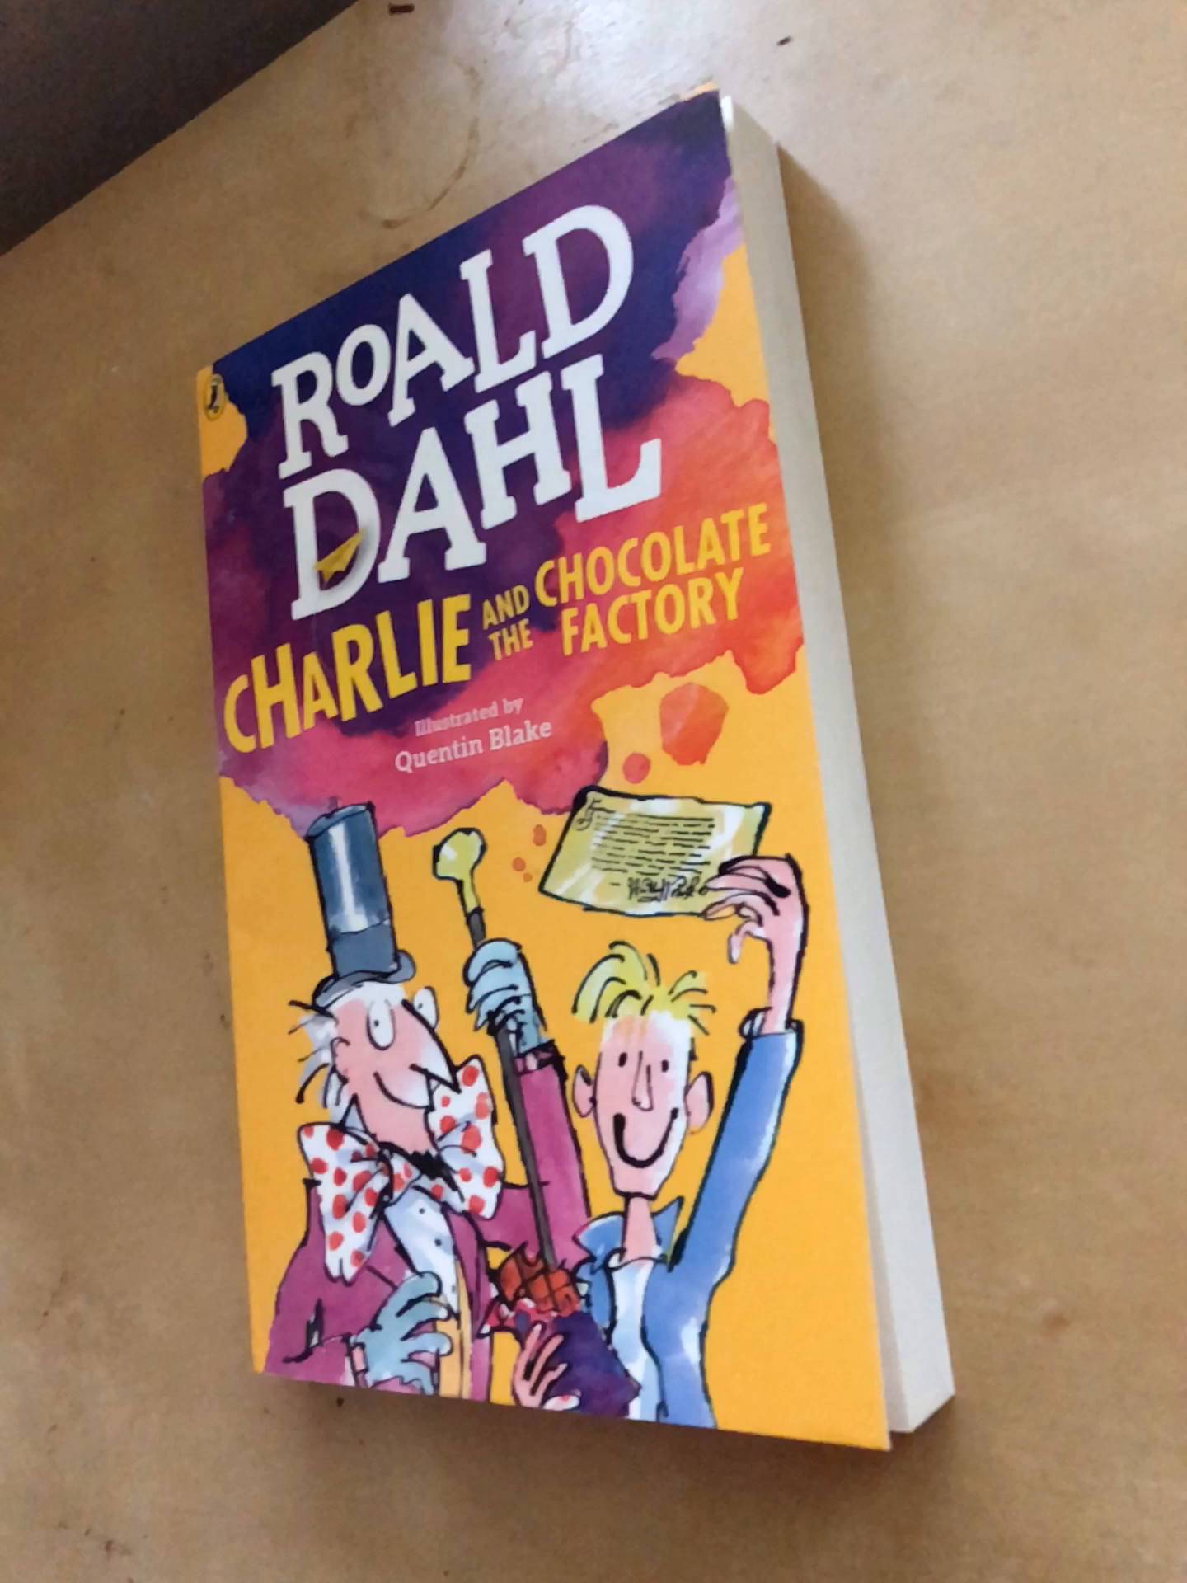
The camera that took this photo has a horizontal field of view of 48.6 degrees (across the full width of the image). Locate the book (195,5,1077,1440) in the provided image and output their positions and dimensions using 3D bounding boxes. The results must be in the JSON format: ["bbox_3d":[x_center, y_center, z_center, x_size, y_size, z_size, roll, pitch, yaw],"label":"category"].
[{"bbox_3d":[-0.005,-0.005,0.232,0.135,0.040,0.201,-12,78,33],"label":"book"}]
